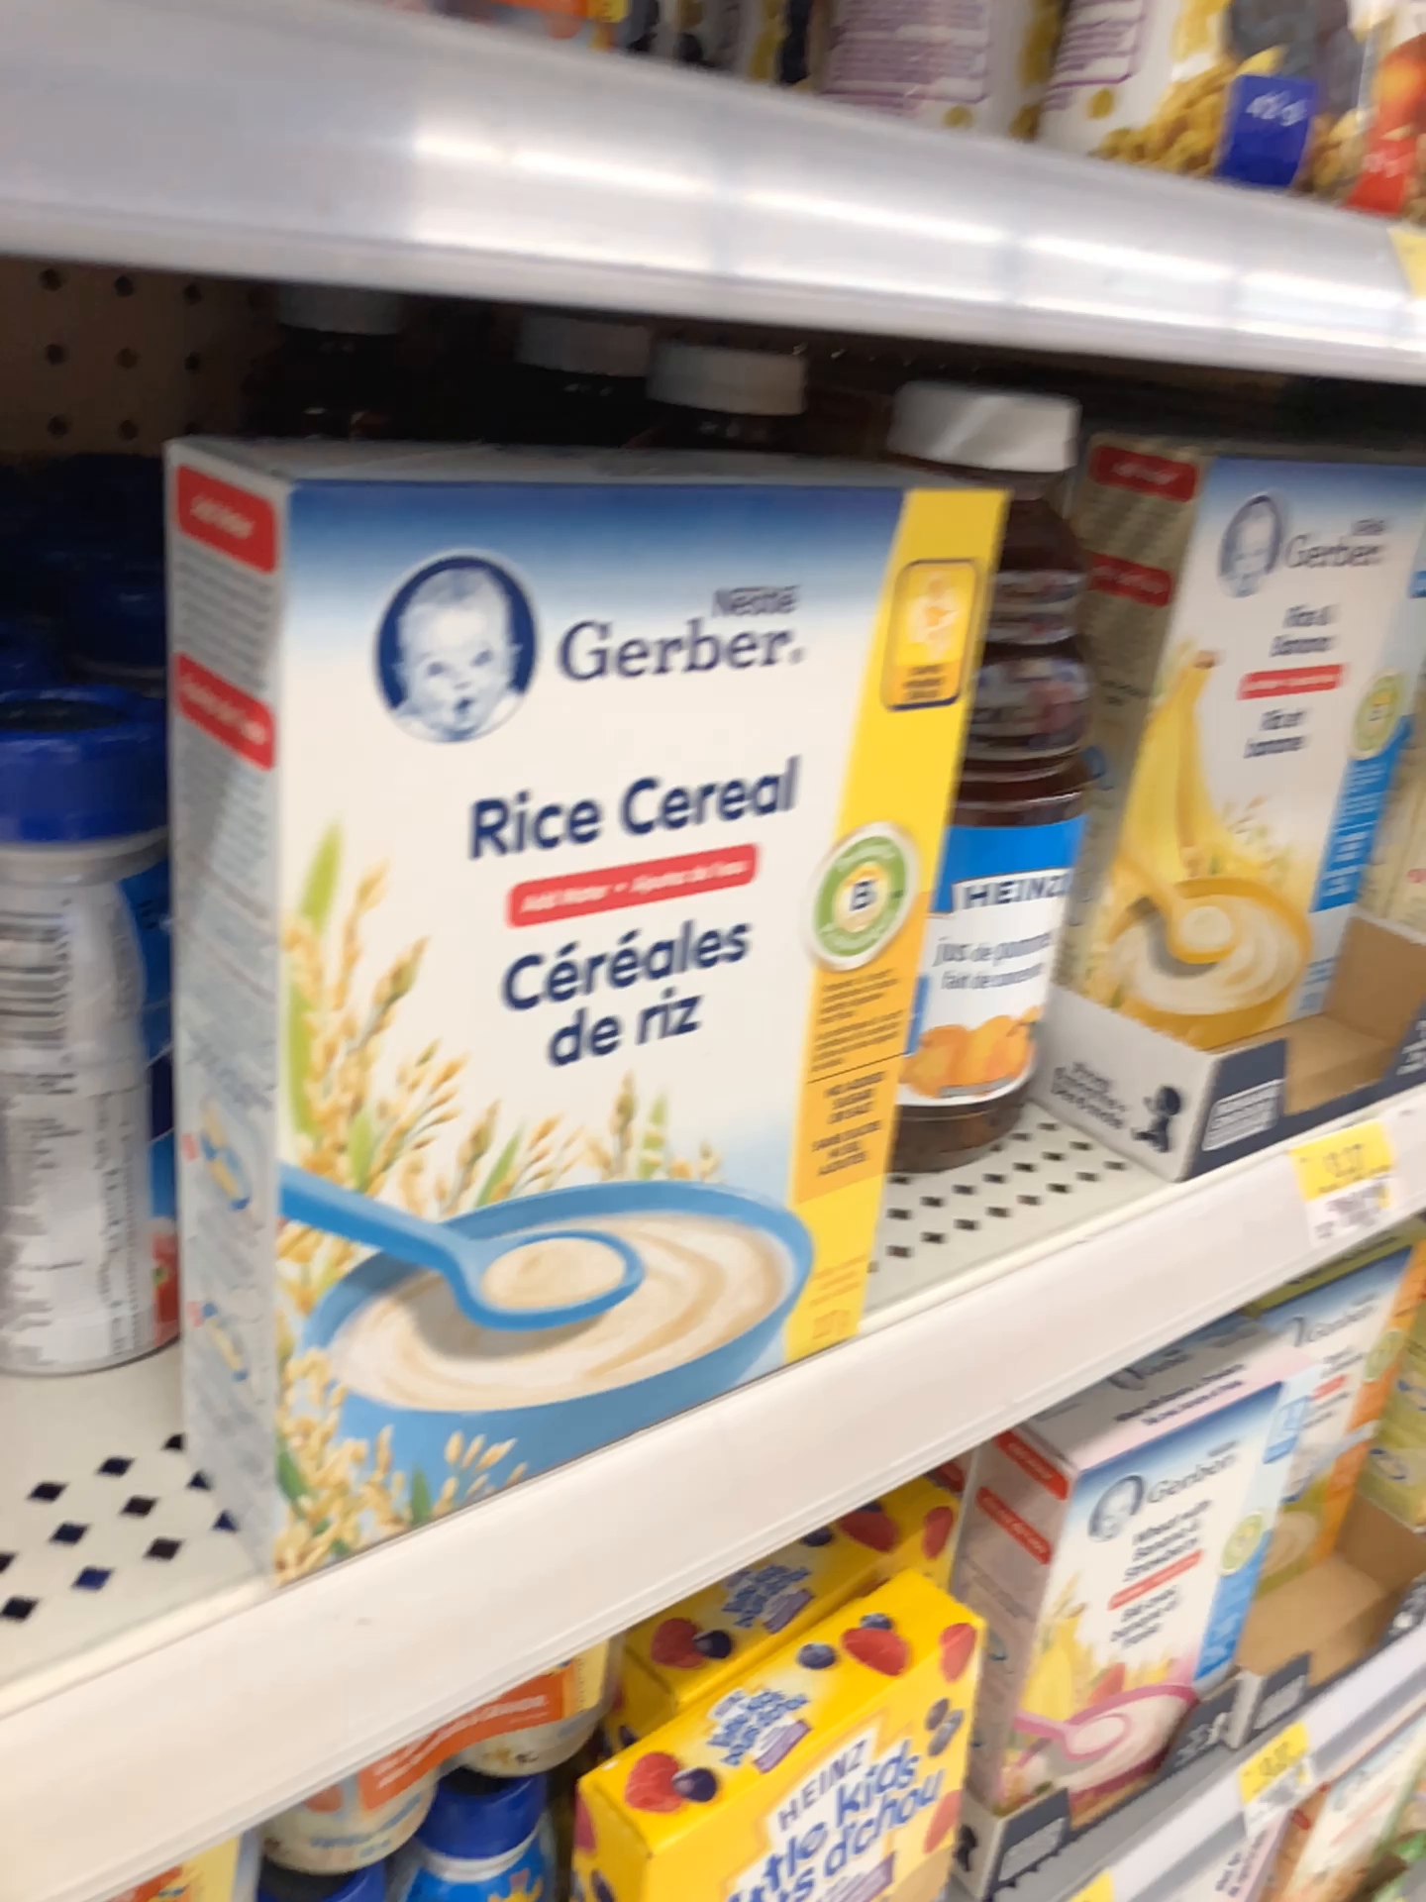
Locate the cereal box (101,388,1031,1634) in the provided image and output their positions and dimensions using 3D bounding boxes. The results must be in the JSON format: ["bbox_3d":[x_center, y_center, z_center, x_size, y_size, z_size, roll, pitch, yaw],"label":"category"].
[{"bbox_3d":[-0.030,0.004,0.305,0.150,0.199,0.060,-11,29,-39],"label":"cereal box"}]
